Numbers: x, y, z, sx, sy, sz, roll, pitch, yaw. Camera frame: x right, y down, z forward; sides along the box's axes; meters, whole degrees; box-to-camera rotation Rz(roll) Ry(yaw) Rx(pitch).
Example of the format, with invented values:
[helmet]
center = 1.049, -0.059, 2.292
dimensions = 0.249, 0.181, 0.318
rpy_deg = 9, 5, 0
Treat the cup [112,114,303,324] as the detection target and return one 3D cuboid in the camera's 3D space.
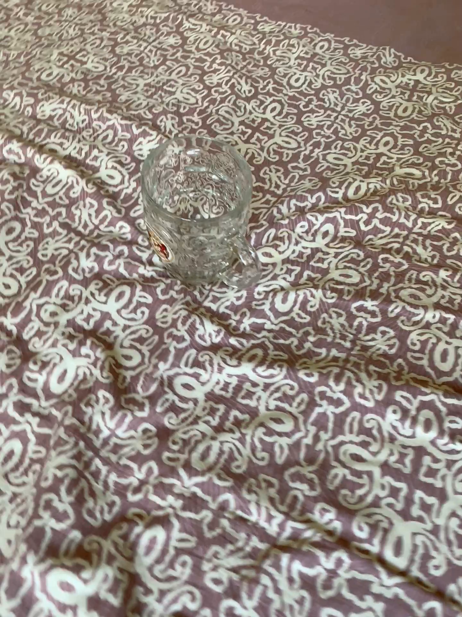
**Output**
[cup]
center = -0.021, -0.075, 0.409
dimensions = 0.093, 0.099, 0.117
rpy_deg = -39, 70, -21
